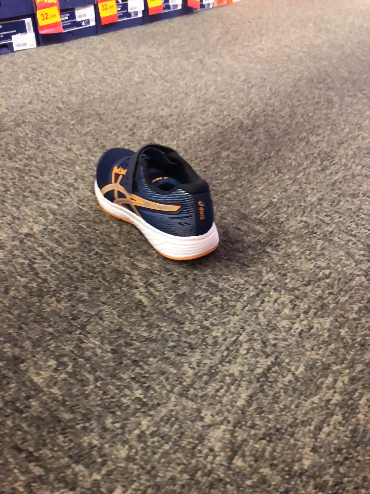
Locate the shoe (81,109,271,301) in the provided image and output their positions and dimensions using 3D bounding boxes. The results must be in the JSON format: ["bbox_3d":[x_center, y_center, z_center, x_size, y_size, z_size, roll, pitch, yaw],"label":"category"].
[{"bbox_3d":[-0.023,-0.063,0.472,0.090,0.099,0.236,-23,45,-27],"label":"shoe"}]
